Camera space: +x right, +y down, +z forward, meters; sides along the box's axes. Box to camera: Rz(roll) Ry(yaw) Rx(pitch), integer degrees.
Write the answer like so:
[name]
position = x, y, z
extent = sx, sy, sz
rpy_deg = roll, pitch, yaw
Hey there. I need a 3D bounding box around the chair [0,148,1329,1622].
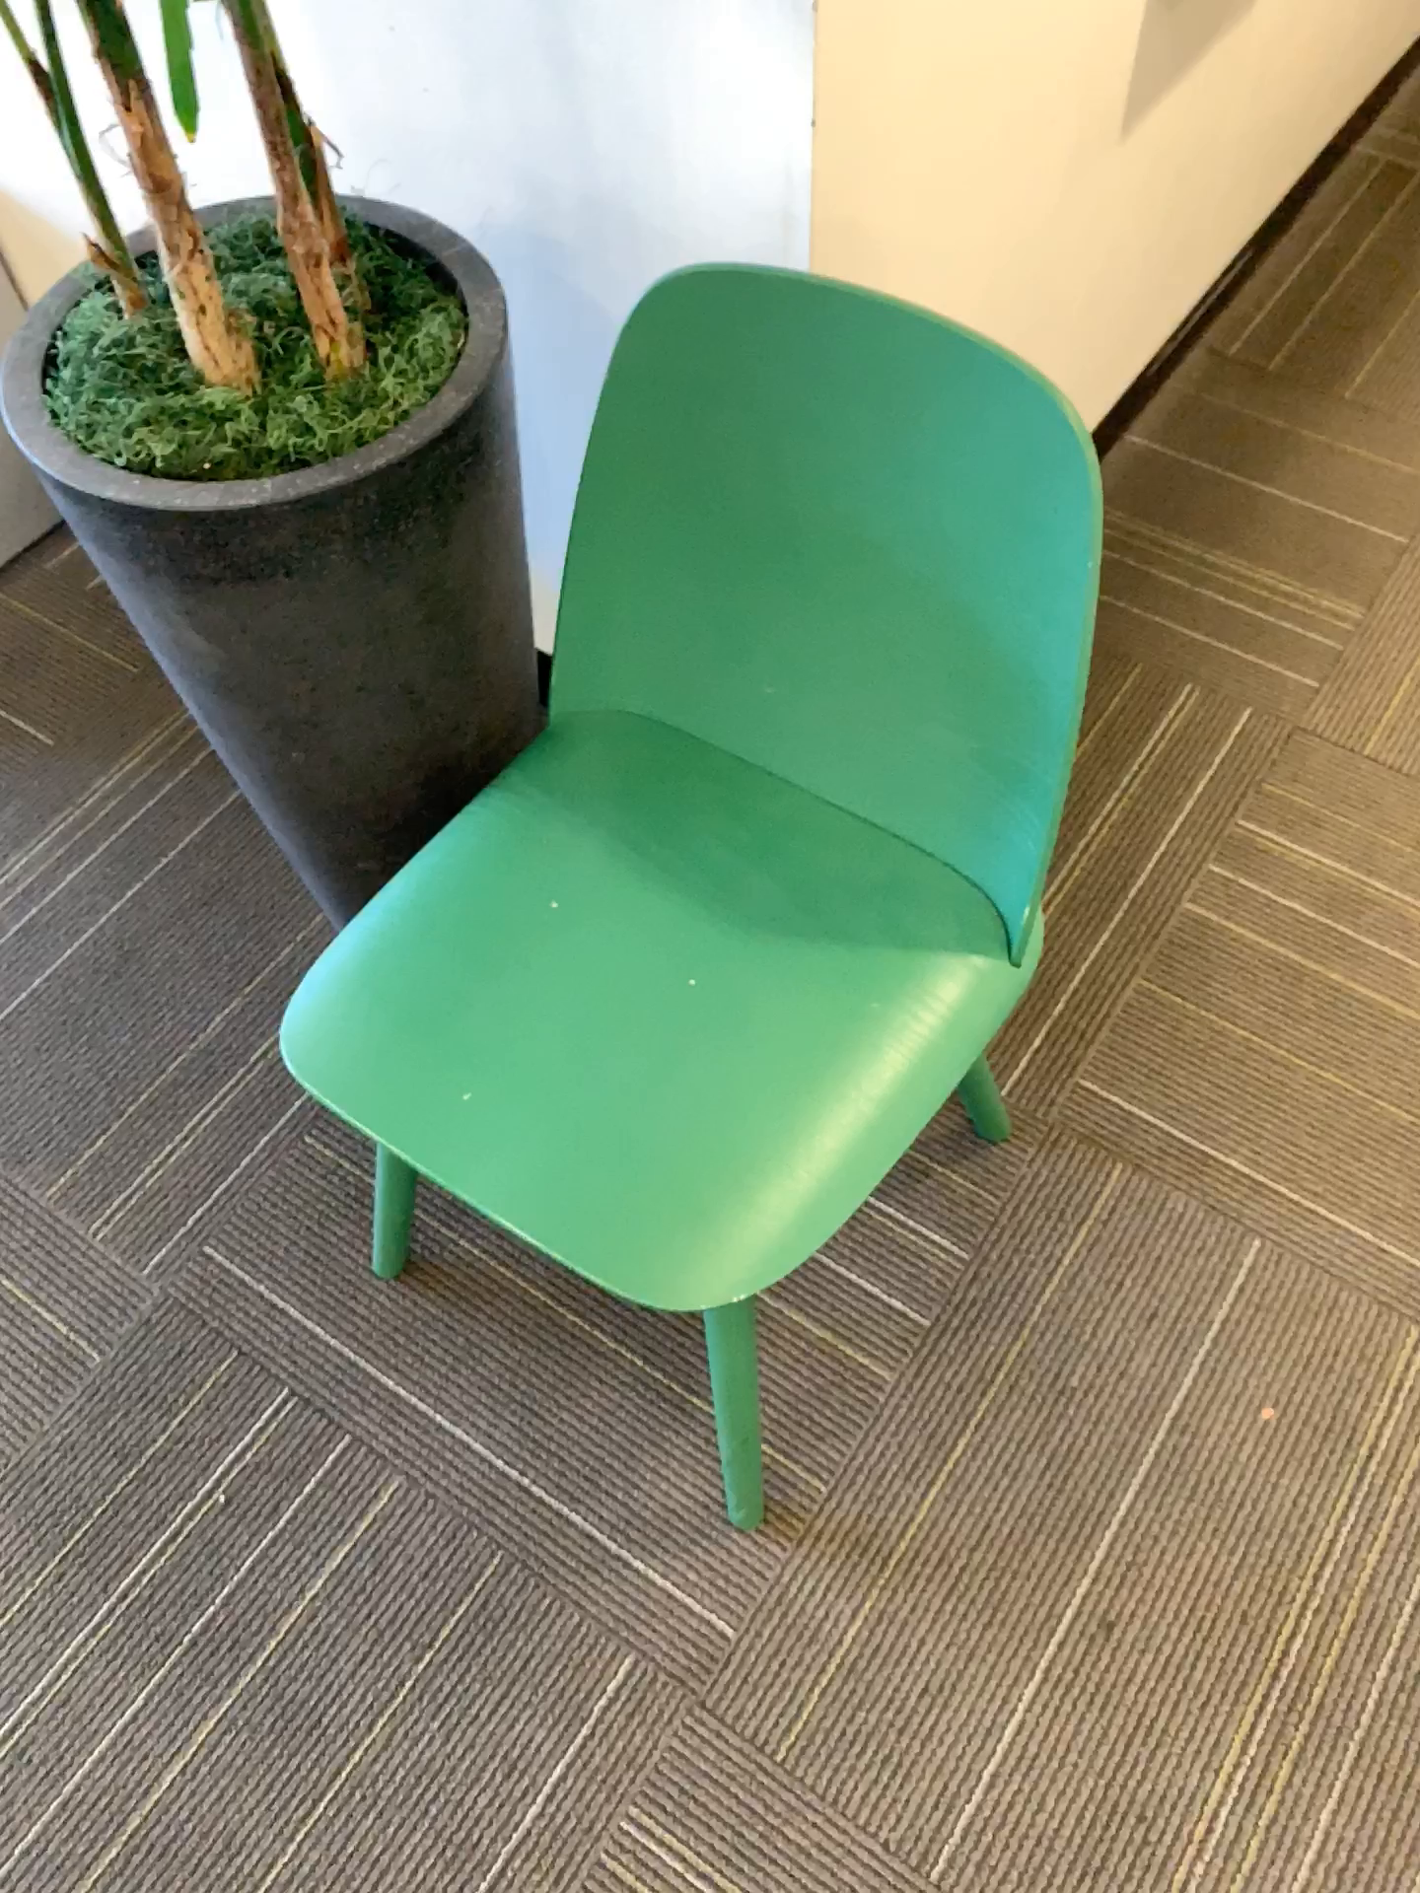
[chair]
position = -0.026, 0.003, 1.058
extent = 0.501, 0.747, 0.601
rpy_deg = 29, 62, 20
